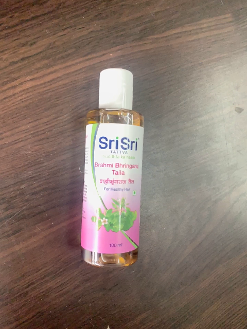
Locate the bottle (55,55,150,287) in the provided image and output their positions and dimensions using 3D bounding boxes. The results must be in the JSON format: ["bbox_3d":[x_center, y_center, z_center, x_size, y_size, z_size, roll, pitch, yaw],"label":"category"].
[{"bbox_3d":[-0.016,0.005,0.170,0.050,0.040,0.130,3,90,-15],"label":"bottle"}]
